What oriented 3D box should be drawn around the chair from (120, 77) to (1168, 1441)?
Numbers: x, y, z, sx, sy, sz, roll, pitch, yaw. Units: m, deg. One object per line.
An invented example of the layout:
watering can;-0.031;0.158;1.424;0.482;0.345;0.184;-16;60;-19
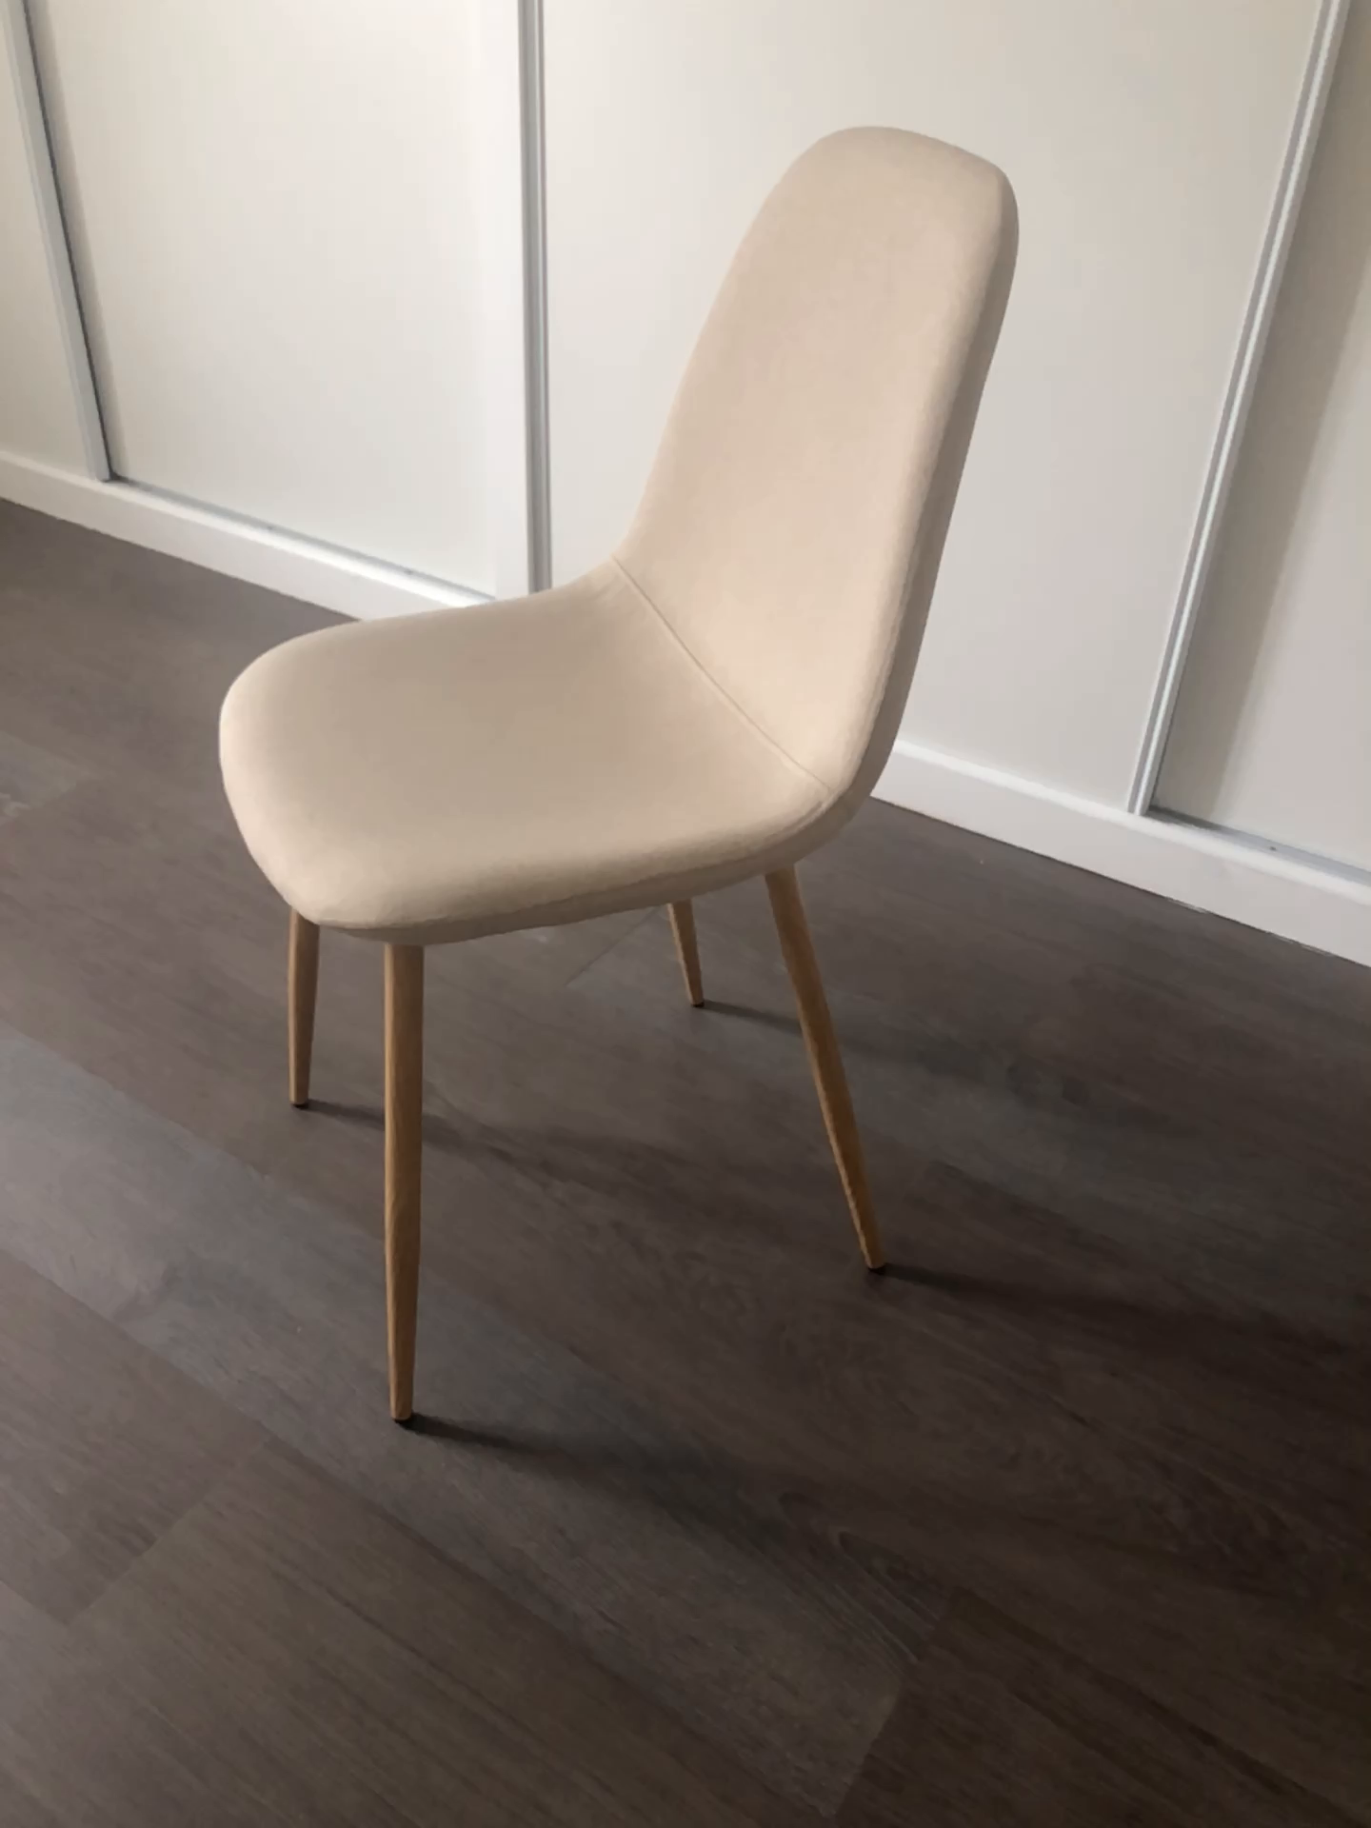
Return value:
chair;-0.070;-0.117;1.122;0.501;0.845;0.432;-11;37;-18
